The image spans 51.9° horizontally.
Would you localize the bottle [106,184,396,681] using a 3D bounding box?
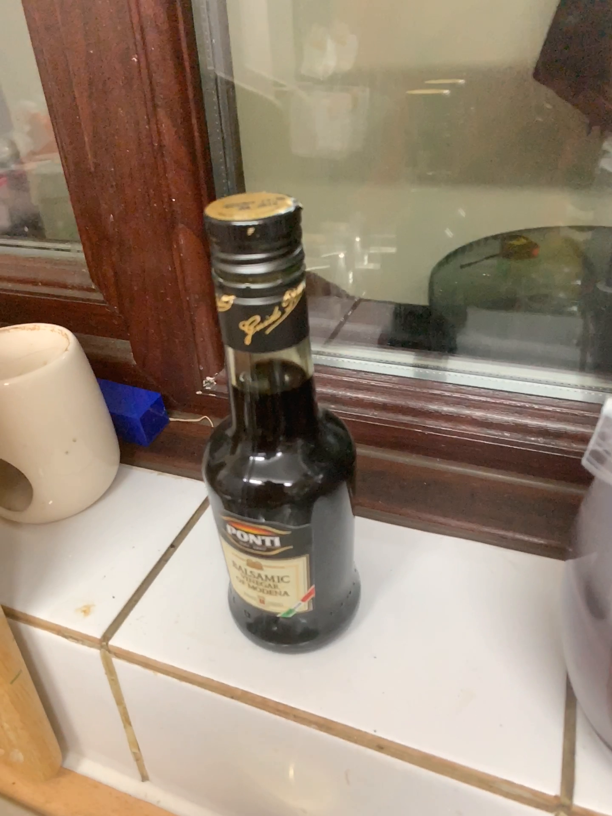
[{"bbox_3d":[-0.009,0.013,0.250,0.070,0.178,0.071,-3,32,2],"label":"bottle"}]
